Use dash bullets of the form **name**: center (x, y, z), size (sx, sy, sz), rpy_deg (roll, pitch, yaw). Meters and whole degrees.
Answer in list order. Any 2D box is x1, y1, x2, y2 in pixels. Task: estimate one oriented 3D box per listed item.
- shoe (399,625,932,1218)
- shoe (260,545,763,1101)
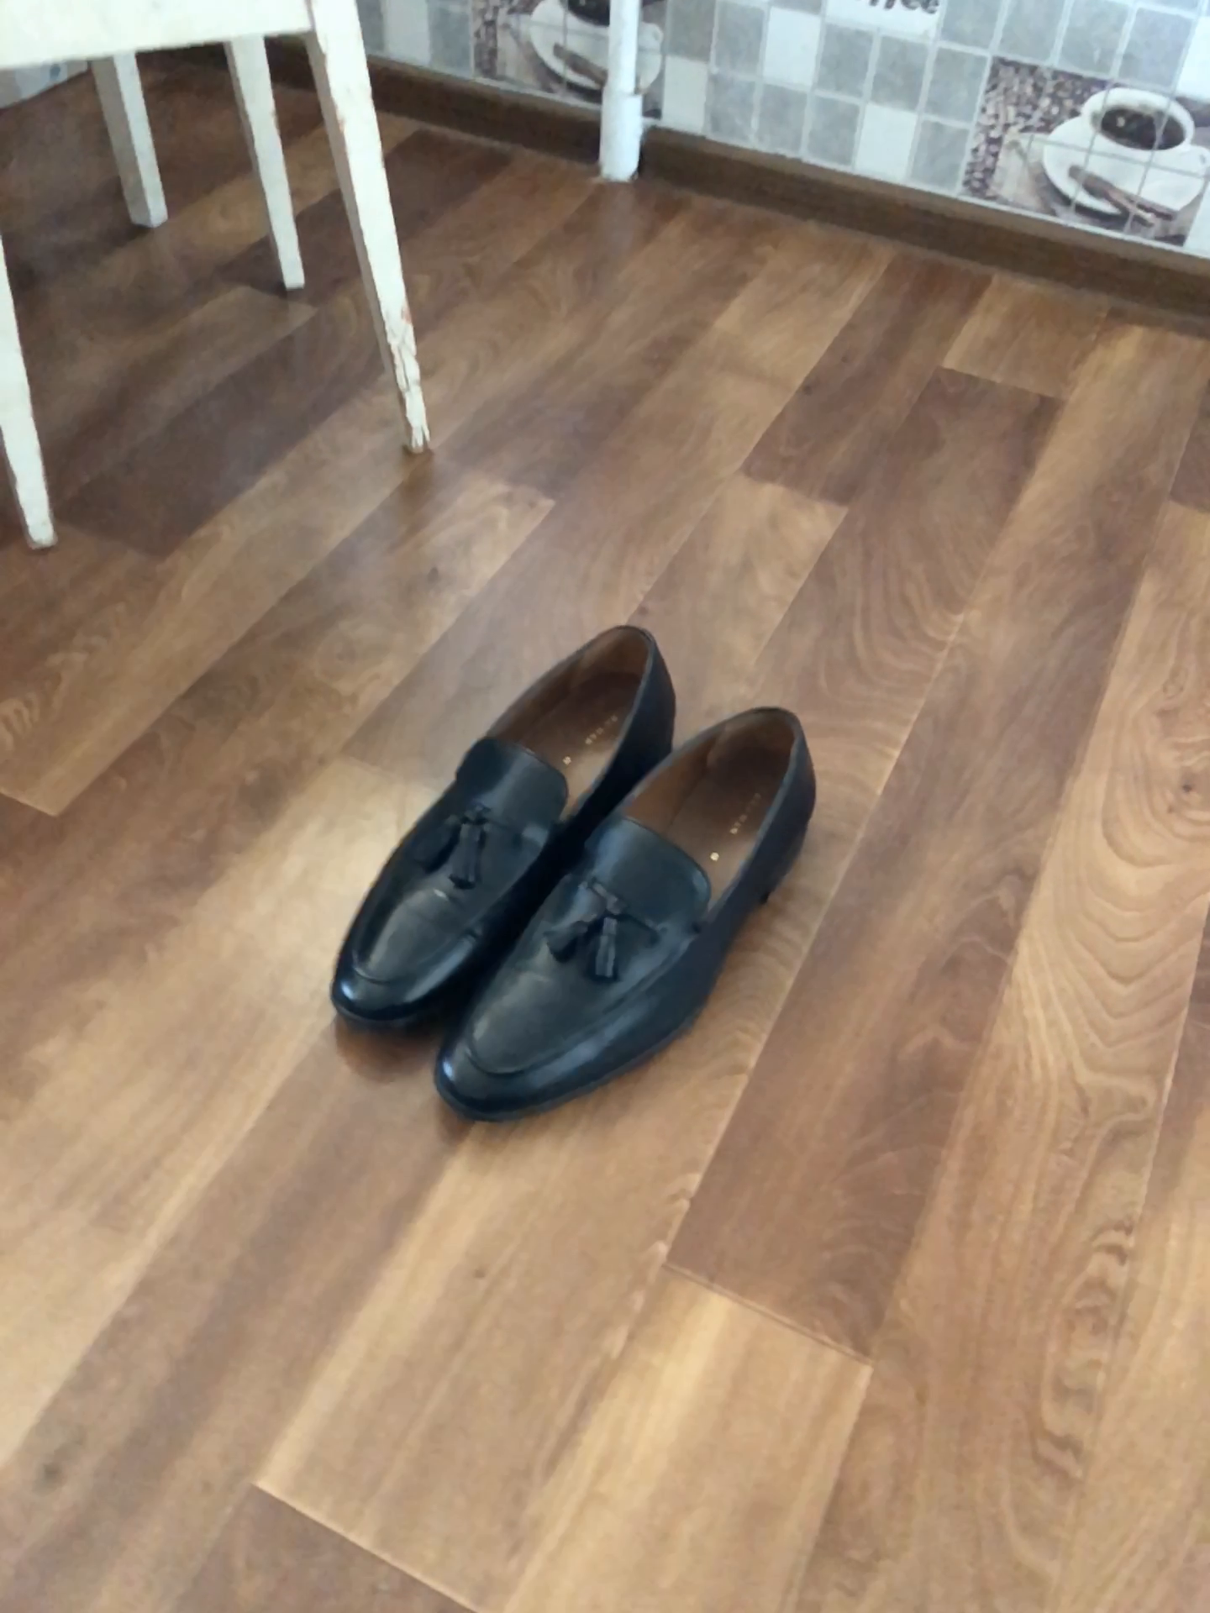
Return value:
- **shoe**: center (0.040, 0.048, 0.706), size (0.110, 0.119, 0.301), rpy_deg (31, 54, 23)
- **shoe**: center (-0.039, -0.003, 0.747), size (0.110, 0.119, 0.301), rpy_deg (27, 53, 20)
